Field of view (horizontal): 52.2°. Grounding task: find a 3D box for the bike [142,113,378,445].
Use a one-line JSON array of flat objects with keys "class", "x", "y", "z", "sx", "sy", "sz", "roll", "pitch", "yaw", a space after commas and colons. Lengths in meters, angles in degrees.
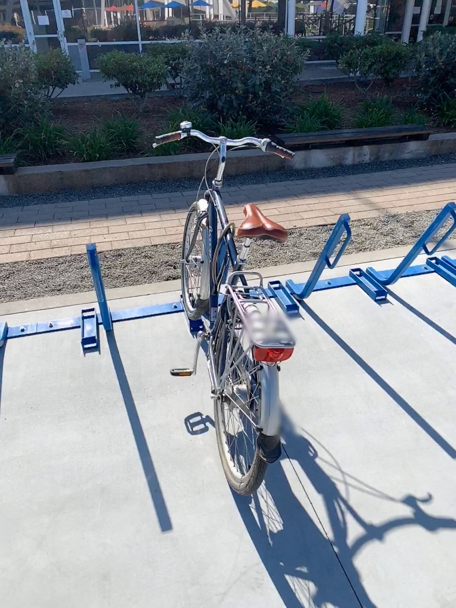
[{"class": "bike", "x": 0.024, "y": -0.189, "z": 1.927, "sx": 0.590, "sy": 0.916, "sz": 1.066, "roll": -7, "pitch": 33, "yaw": -9}]
